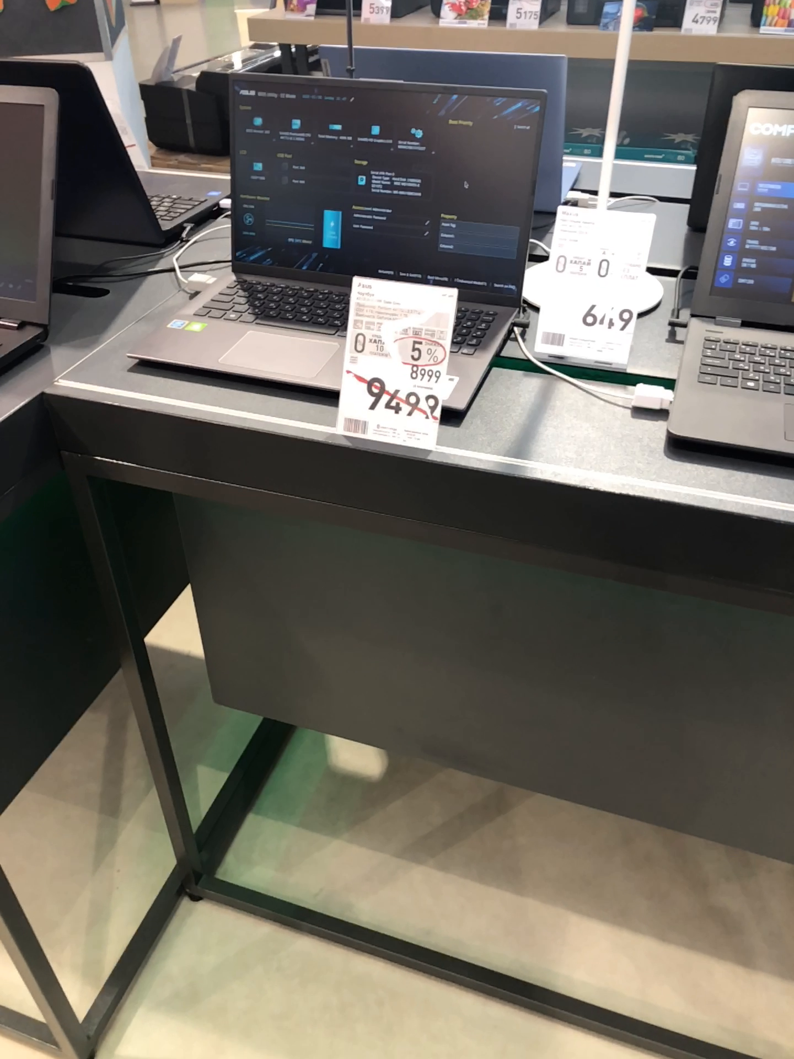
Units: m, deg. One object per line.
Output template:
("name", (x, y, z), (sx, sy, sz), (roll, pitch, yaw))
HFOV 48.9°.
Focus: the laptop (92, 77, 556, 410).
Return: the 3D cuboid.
("laptop", (-0.054, -0.306, 0.873), (0.355, 0.200, 0.288), (11, 40, 18))
